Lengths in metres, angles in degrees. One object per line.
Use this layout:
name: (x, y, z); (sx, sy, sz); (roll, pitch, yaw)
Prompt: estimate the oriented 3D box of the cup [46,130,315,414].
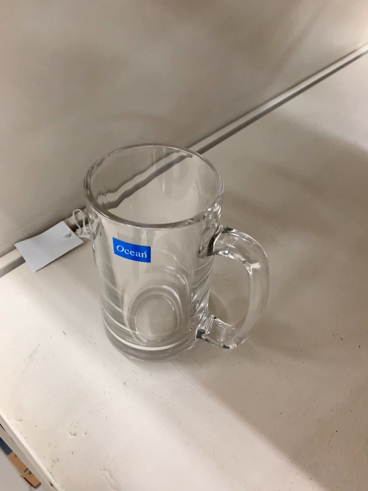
cup: (-0.001, 0.018, 0.234); (0.111, 0.127, 0.076); (20, 48, 16)
